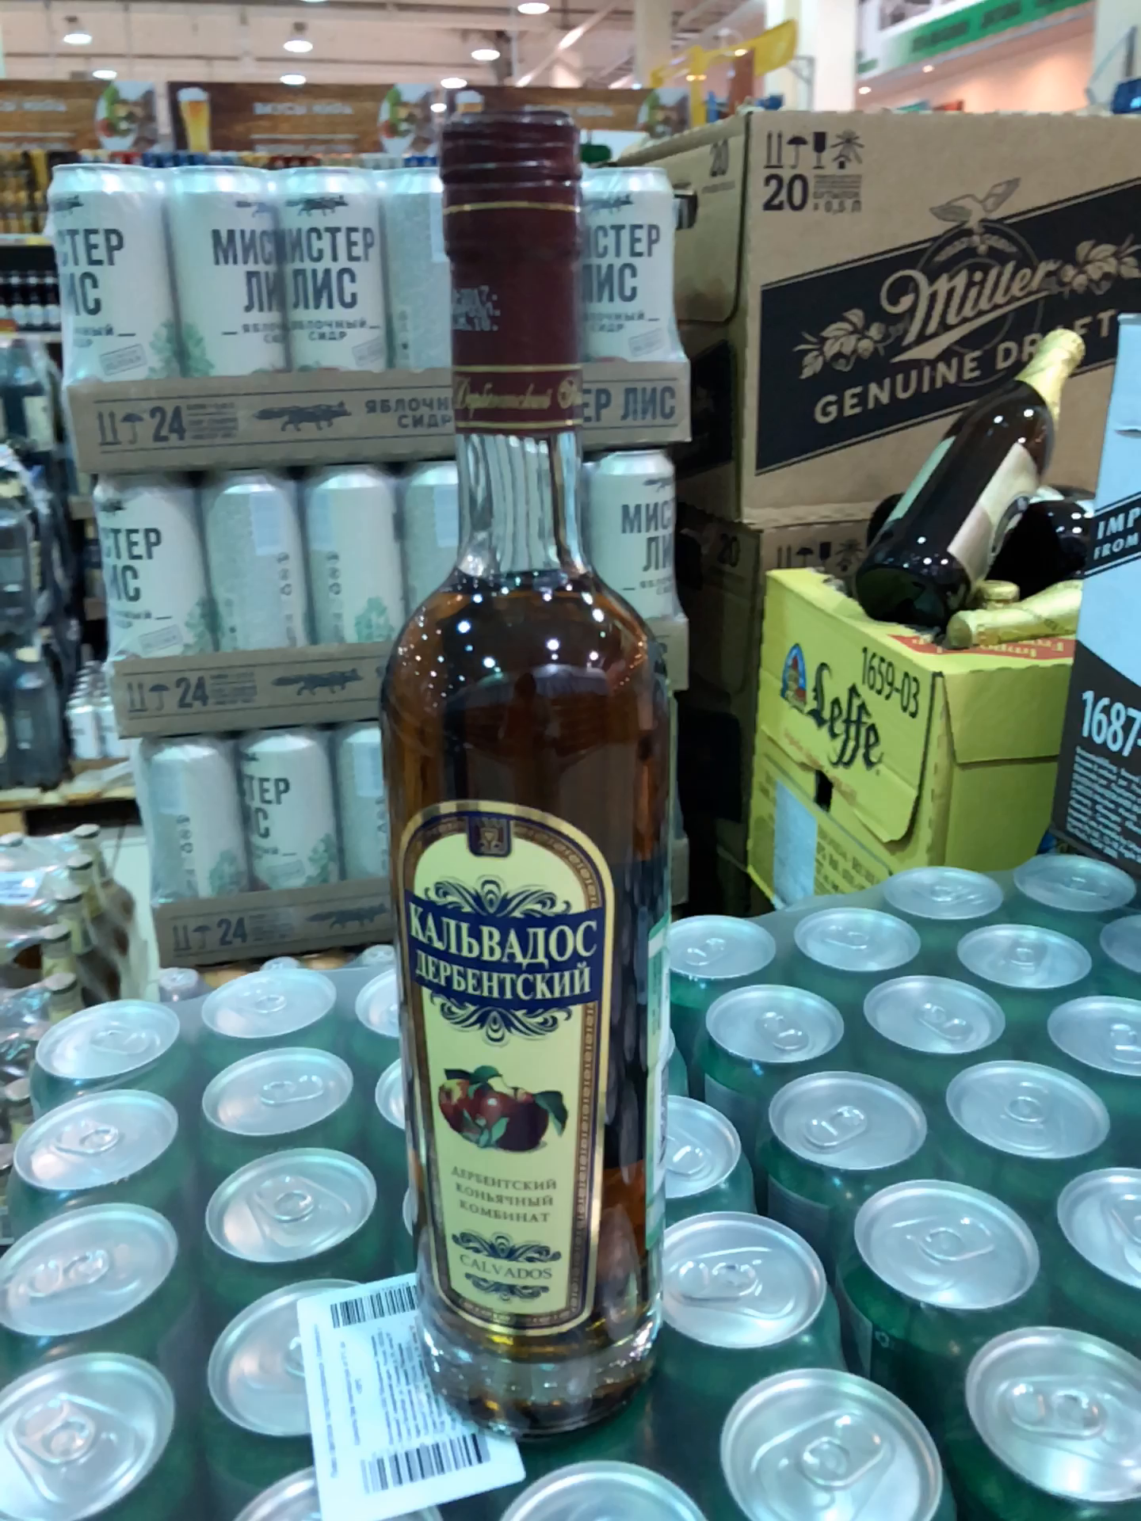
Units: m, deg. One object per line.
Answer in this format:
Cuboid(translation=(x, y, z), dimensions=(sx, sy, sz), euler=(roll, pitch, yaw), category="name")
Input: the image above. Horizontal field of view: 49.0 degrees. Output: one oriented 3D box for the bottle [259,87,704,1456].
Cuboid(translation=(-0.011, 0.015, 0.296), dimensions=(0.070, 0.298, 0.070), euler=(-1, 19, 0), category="bottle")
